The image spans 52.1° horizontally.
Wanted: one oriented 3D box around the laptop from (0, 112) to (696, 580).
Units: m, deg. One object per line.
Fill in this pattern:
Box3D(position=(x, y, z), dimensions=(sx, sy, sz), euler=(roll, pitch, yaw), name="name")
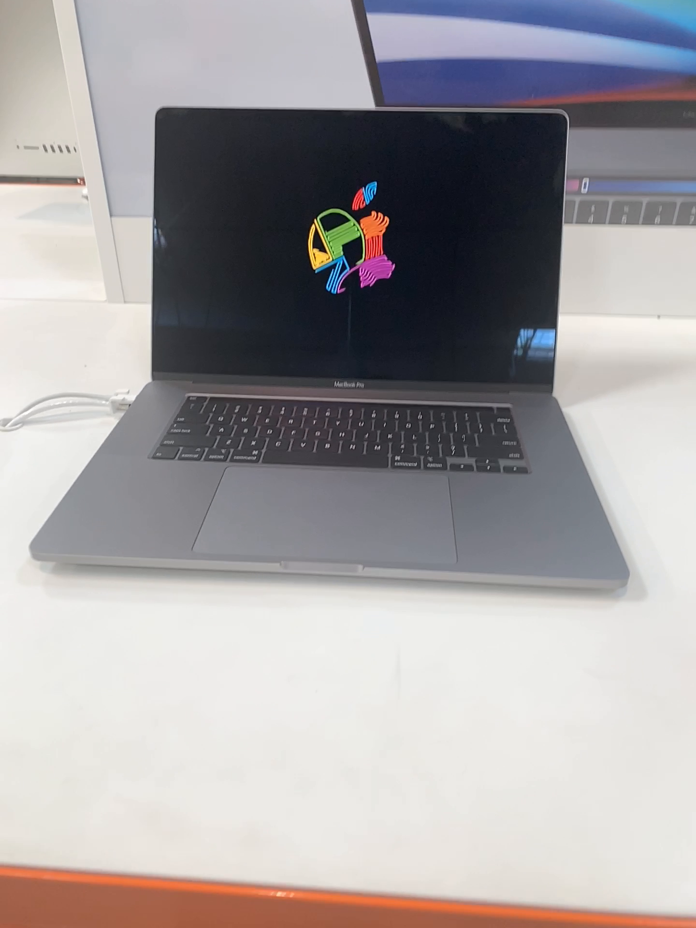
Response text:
Box3D(position=(-0.005, -0.118, 0.501), dimensions=(0.341, 0.203, 0.347), euler=(2, 31, 3), name="laptop")
